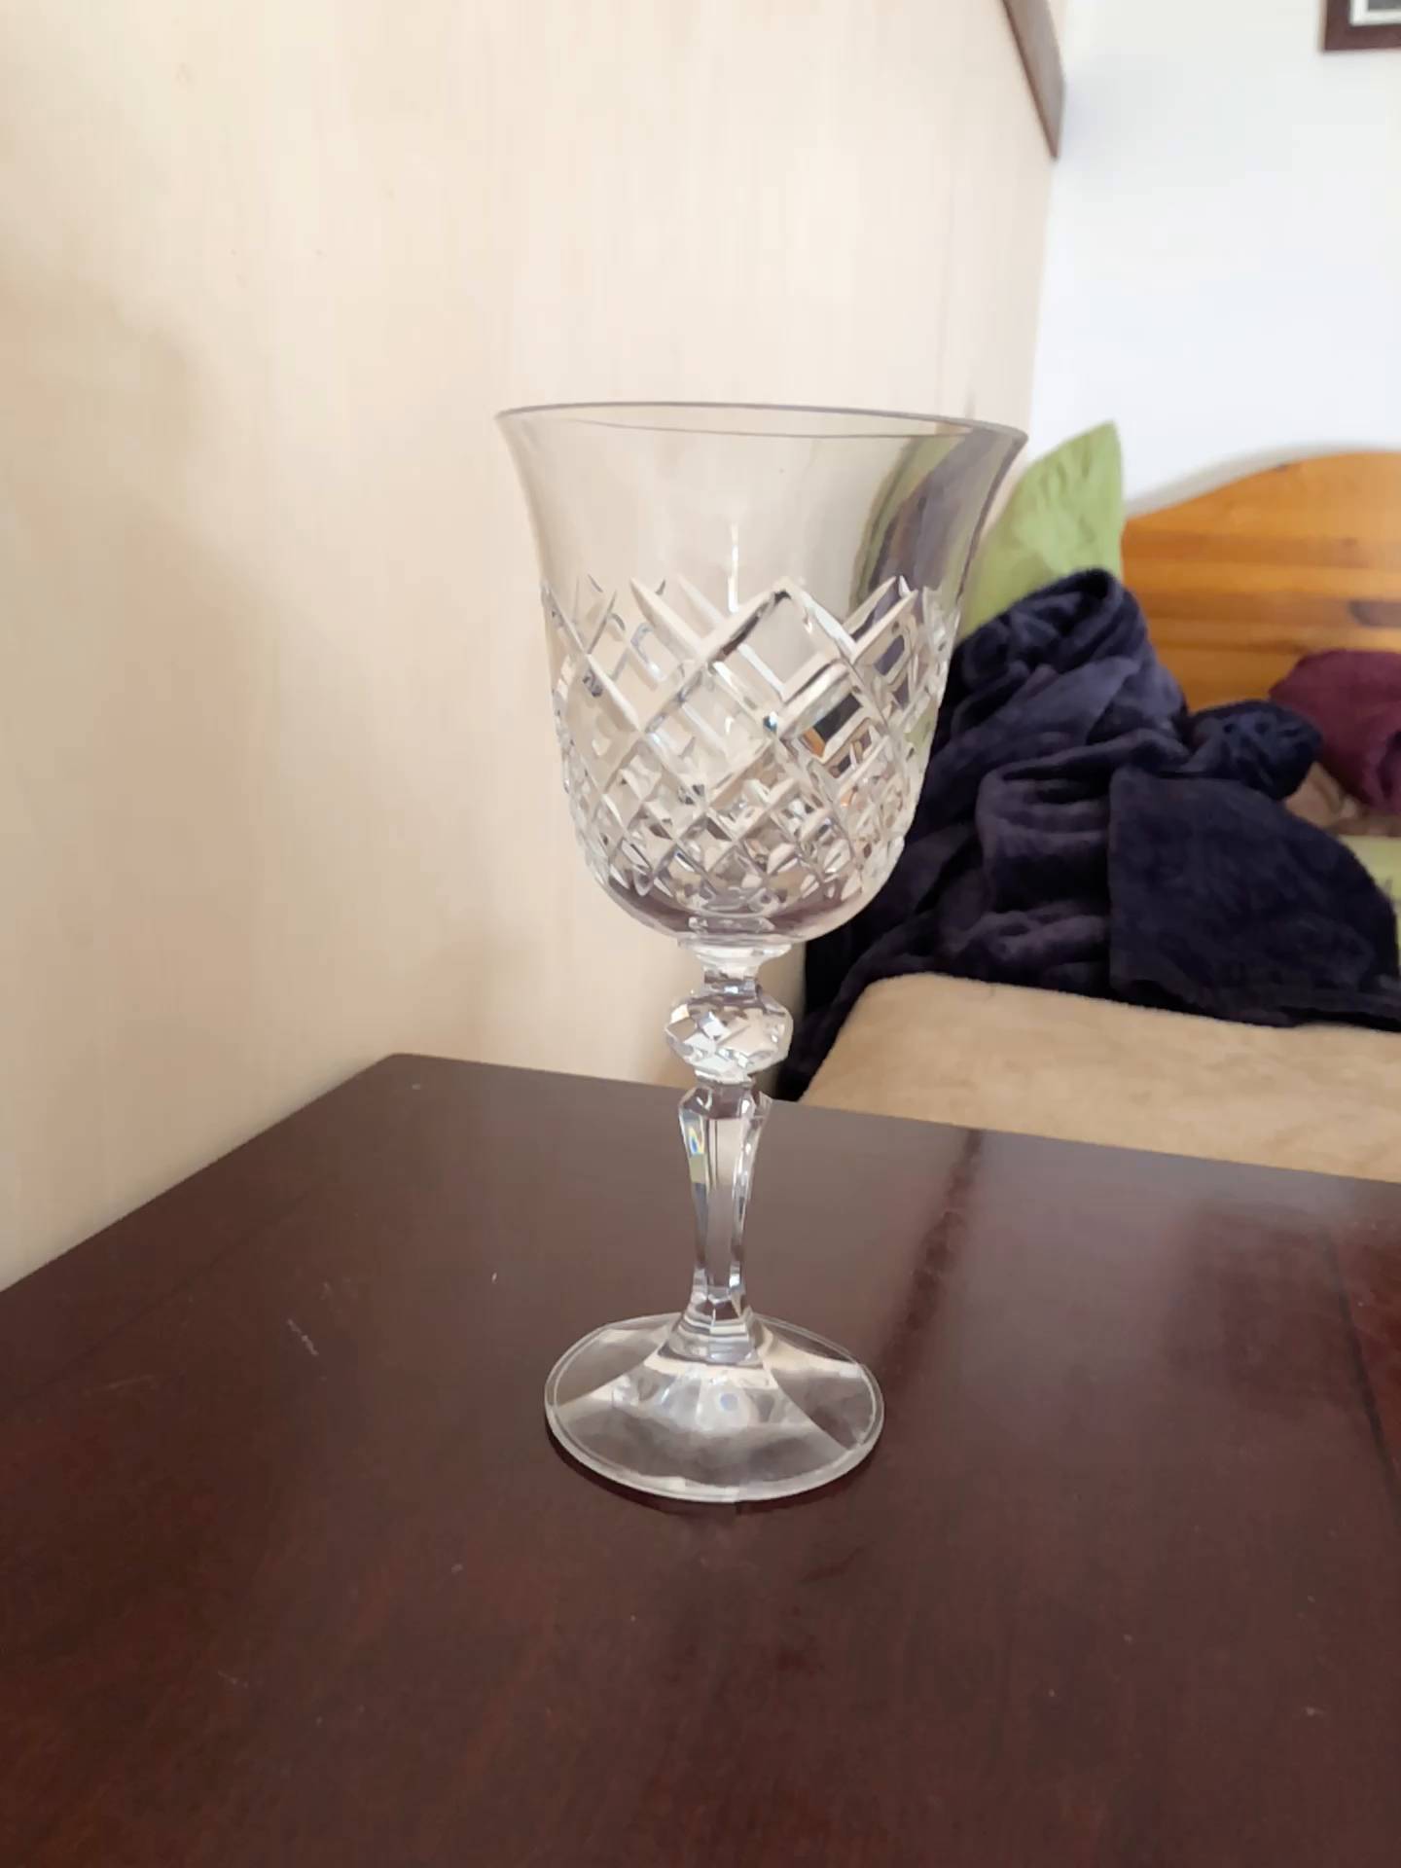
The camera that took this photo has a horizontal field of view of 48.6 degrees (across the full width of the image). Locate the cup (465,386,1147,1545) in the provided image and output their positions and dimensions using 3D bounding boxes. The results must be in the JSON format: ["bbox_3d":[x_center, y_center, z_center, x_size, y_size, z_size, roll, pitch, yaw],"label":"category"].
[{"bbox_3d":[0.007,0.001,0.274,0.092,0.171,0.092,2,13,-1],"label":"cup"}]
